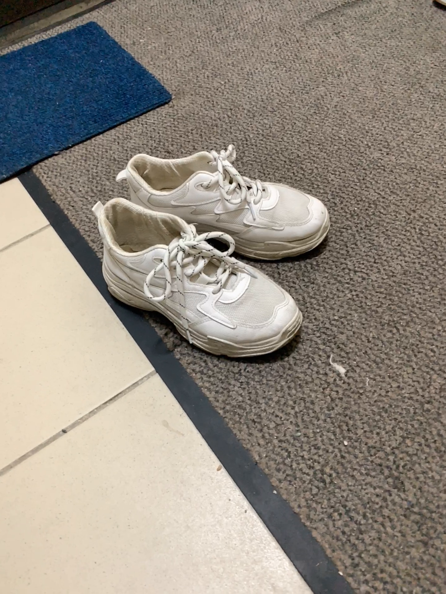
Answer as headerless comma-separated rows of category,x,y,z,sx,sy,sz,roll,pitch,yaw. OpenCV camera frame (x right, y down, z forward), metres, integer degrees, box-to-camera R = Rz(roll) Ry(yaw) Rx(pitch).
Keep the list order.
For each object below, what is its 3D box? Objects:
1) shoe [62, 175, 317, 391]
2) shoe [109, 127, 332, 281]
shoe,-0.029,-0.018,0.494,0.230,0.140,0.100,22,62,22
shoe,0.006,-0.113,0.557,0.230,0.140,0.100,7,57,13
